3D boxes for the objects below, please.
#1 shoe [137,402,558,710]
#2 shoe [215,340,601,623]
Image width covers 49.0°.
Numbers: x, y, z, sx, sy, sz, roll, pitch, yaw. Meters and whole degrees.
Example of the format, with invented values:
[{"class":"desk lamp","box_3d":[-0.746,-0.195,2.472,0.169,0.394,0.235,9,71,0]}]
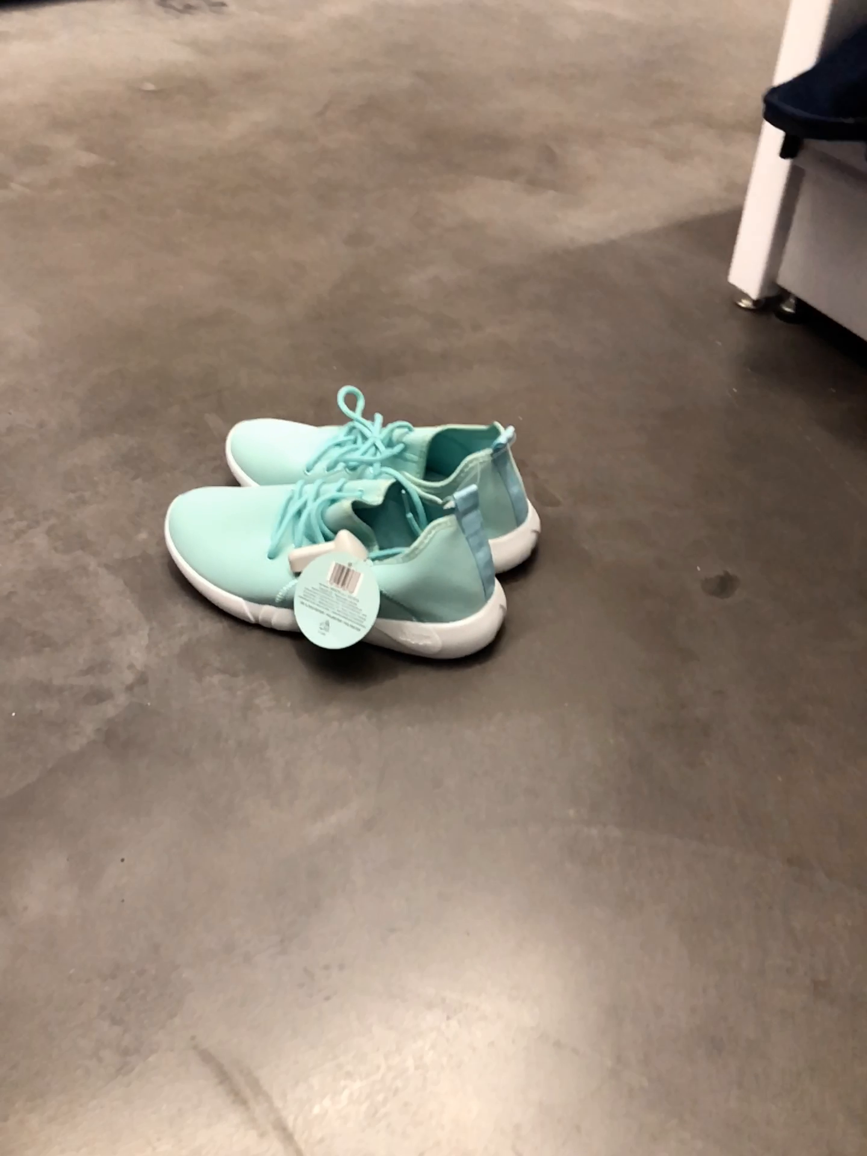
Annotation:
[{"class":"shoe","box_3d":[-0.051,-0.019,0.602,0.230,0.099,0.101,16,46,16]},{"class":"shoe","box_3d":[-0.017,-0.071,0.653,0.230,0.099,0.101,17,47,17]}]
